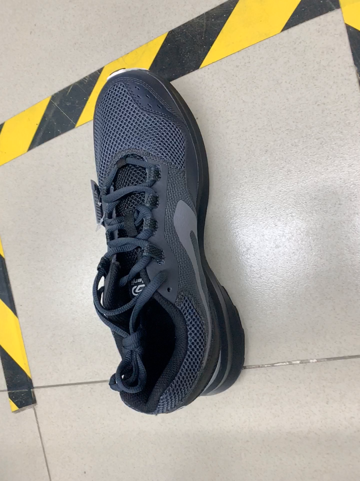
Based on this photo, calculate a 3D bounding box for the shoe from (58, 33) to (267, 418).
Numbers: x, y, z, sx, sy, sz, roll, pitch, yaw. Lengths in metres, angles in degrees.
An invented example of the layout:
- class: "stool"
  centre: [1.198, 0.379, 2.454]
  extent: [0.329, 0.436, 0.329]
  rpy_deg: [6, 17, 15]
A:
- class: "shoe"
  centre: [-0.013, -0.004, 0.319]
  extent: [0.110, 0.070, 0.280]
  rpy_deg: [-11, 89, 24]
